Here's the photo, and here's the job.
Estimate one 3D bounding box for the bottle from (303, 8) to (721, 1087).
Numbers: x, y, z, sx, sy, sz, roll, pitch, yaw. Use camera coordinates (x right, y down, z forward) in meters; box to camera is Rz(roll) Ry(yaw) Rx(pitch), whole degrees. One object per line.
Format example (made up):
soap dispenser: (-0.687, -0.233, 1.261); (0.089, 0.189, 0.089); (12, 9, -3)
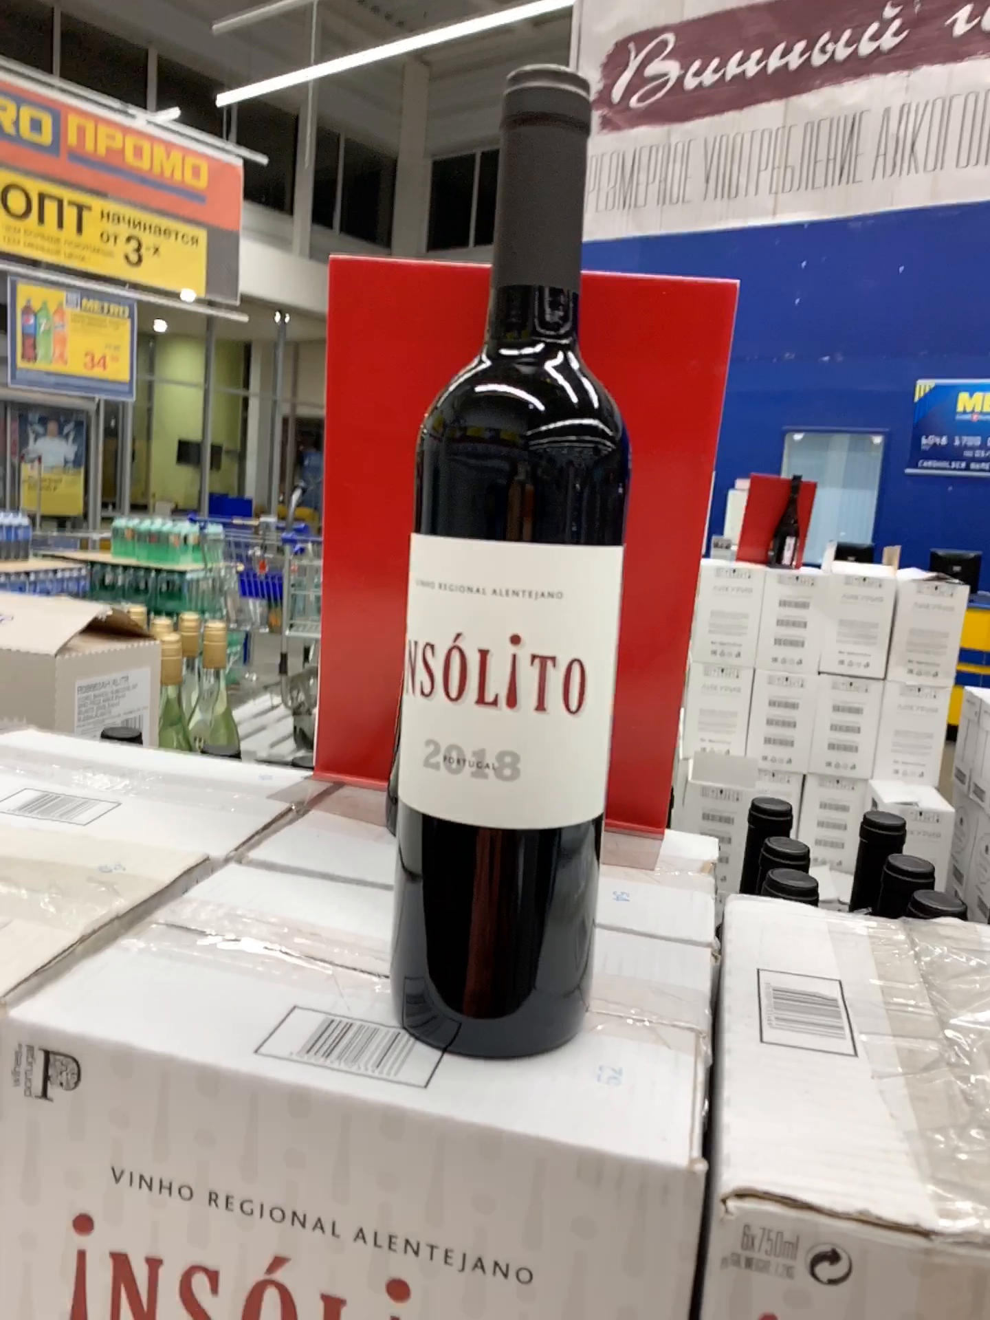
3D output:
bottle: (0.007, -0.032, 0.349); (0.090, 0.309, 0.090); (5, 8, -1)

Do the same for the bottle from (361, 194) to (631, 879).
bottle: (-0.006, -0.057, 0.530); (0.090, 0.319, 0.090); (7, 12, -2)
